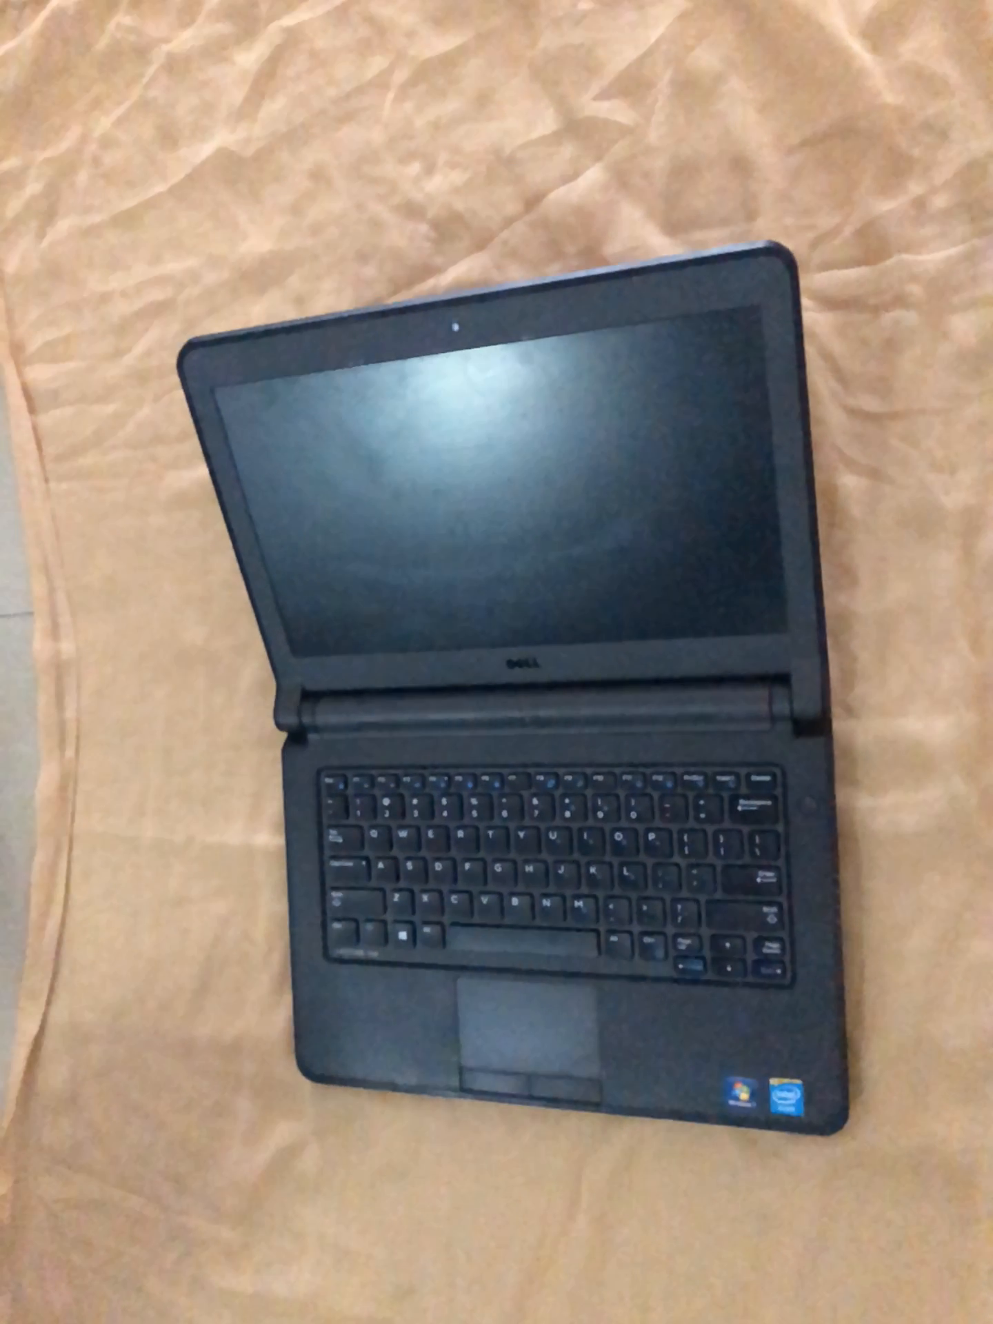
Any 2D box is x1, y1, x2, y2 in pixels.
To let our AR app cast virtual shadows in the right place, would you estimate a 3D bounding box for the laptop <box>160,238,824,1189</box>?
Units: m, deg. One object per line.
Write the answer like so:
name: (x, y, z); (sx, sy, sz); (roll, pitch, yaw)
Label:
laptop: (-0.005, 0.031, 0.565); (0.309, 0.092, 0.409); (-3, 90, 20)
